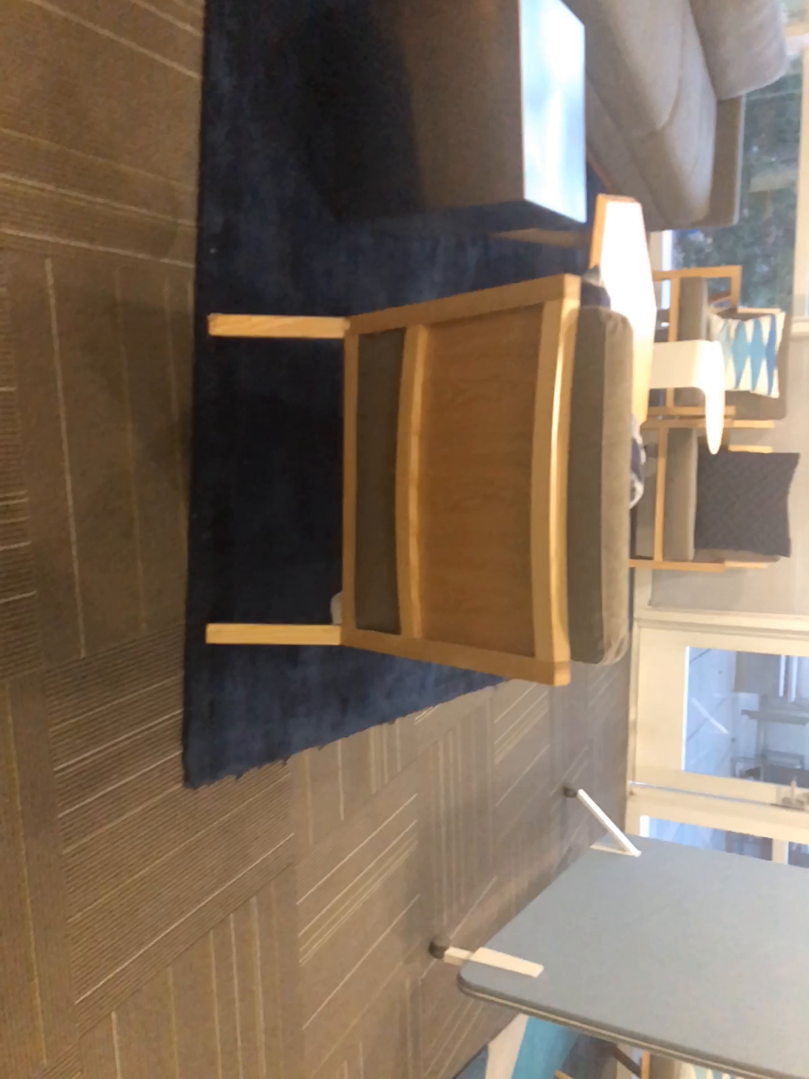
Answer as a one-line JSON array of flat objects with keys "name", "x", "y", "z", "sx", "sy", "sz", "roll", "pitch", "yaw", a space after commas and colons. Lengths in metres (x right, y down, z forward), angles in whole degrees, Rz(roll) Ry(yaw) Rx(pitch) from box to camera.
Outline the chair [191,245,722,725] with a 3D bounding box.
[{"name": "chair", "x": 0.164, "y": -0.089, "z": 1.790, "sx": 0.836, "sy": 0.774, "sz": 0.670, "roll": 0, "pitch": 92, "yaw": -64}]
